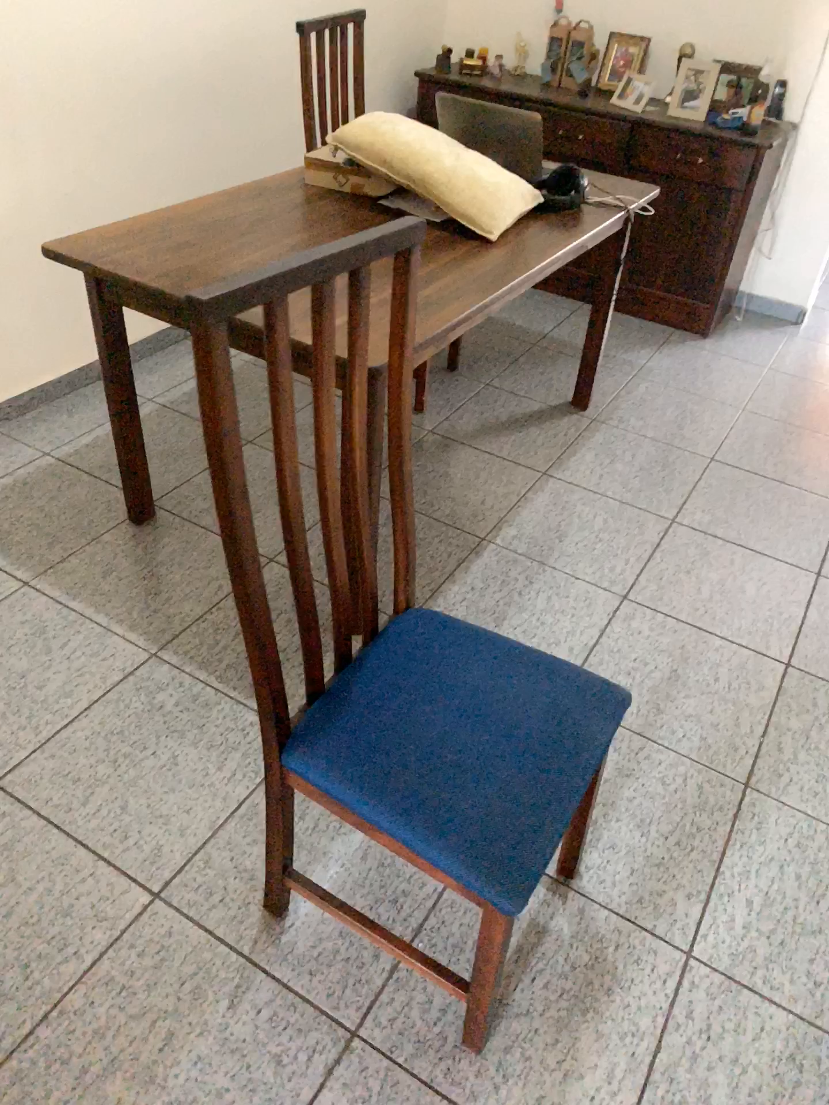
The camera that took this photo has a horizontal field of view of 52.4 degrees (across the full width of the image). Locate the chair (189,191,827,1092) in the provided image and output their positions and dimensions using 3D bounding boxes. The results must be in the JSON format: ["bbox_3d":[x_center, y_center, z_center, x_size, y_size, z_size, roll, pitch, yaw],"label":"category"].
[{"bbox_3d":[0.072,0.165,1.219,0.521,1.123,0.472,24,40,22],"label":"chair"}]
